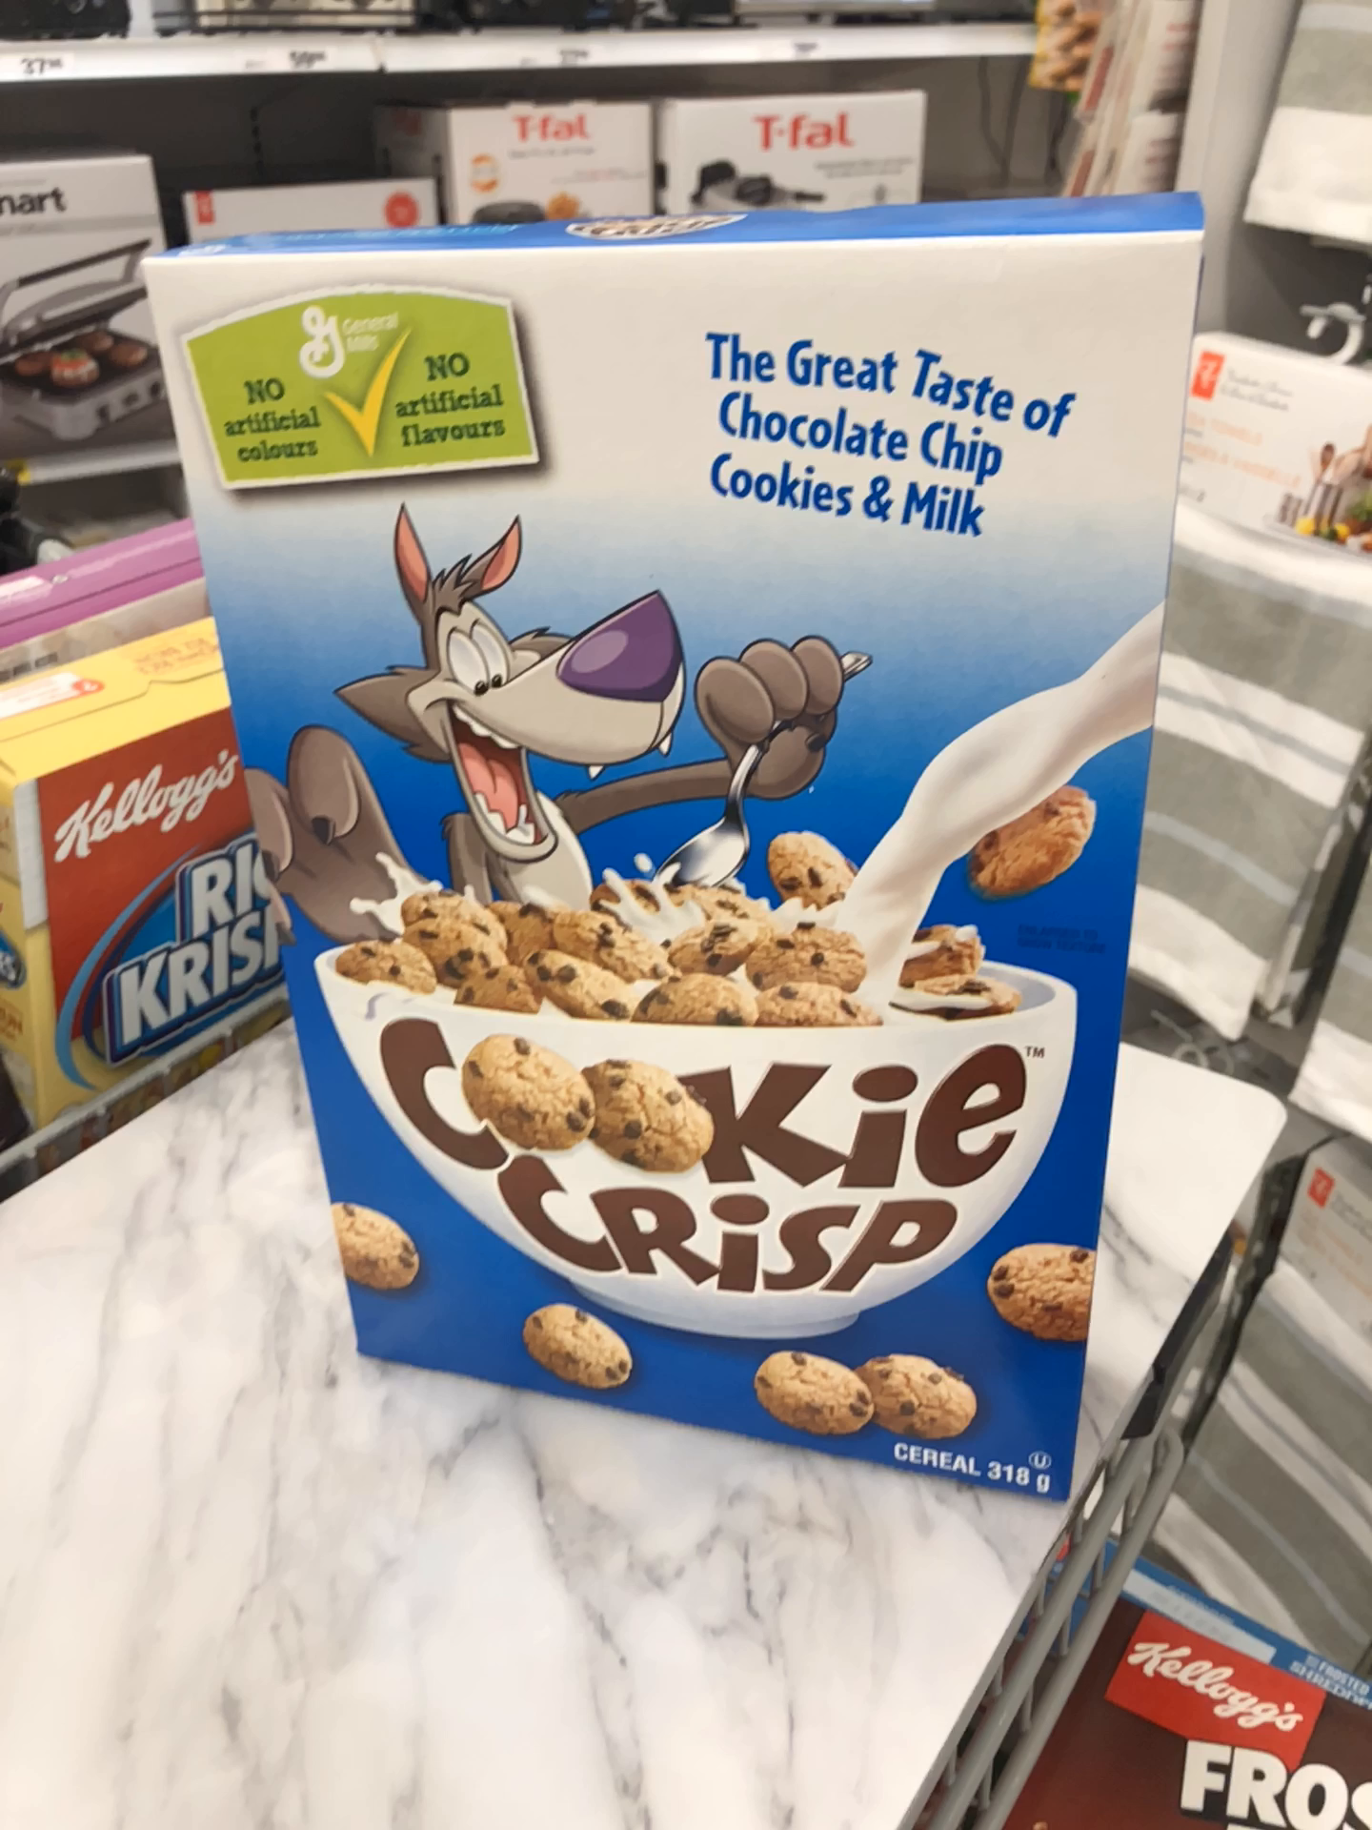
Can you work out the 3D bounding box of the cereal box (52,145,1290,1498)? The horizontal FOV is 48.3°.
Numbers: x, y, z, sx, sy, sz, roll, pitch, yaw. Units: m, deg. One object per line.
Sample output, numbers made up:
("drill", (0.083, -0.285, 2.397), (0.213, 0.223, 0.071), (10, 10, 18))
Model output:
("cereal box", (-0.002, -0.011, 0.330), (0.210, 0.269, 0.050), (6, 28, 16))
